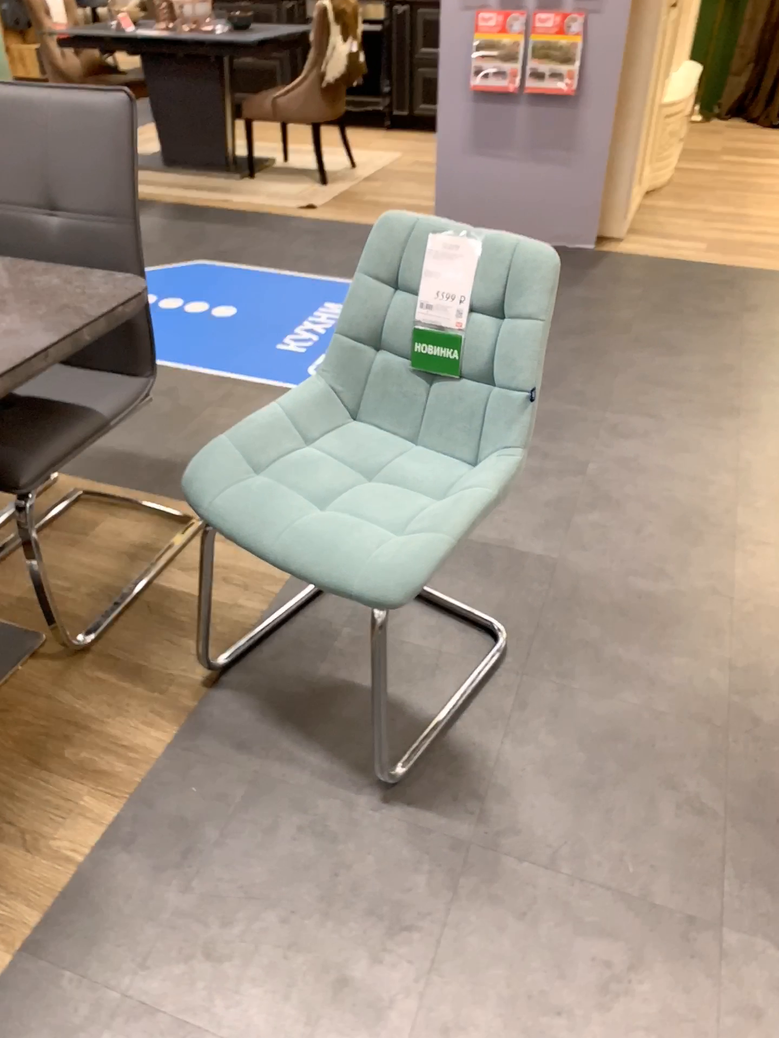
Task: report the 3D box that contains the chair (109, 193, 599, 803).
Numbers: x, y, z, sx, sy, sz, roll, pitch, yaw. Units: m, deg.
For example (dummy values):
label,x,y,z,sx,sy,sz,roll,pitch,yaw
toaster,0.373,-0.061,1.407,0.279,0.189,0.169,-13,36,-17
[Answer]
label,x,y,z,sx,sy,sz,roll,pitch,yaw
chair,-0.034,-0.060,1.455,0.511,0.825,0.552,23,42,28

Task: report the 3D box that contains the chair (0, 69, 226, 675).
label,x,y,z,sx,sy,sz,roll,pitch,yaw
chair,-0.773,-0.302,1.650,0.510,1.004,0.573,15,38,19
